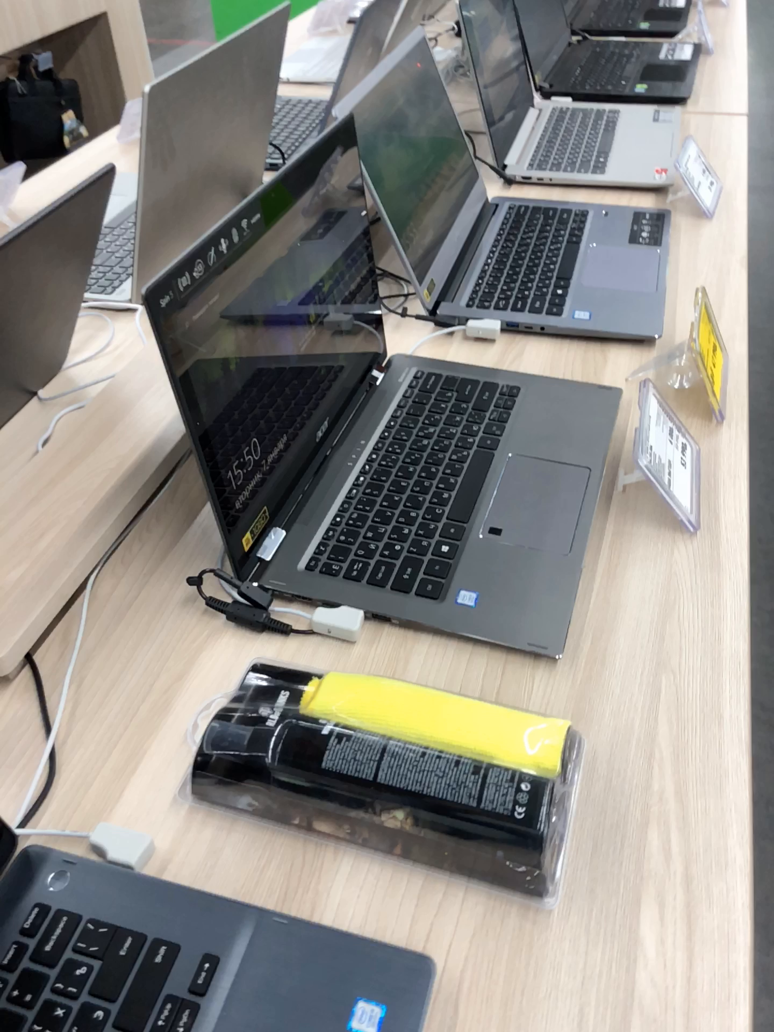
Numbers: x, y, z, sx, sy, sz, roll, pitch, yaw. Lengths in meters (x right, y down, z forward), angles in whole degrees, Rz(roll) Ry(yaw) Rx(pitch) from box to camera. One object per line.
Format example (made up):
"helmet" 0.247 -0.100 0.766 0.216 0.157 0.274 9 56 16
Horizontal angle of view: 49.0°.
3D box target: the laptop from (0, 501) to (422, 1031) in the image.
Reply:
"laptop" -0.172 0.217 0.238 0.288 0.215 0.342 11 44 14

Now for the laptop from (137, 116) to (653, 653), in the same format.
"laptop" 0.034 -0.118 0.610 0.245 0.215 0.316 11 43 15

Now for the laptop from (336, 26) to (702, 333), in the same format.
"laptop" 0.145 -0.363 0.888 0.298 0.196 0.272 9 44 13
